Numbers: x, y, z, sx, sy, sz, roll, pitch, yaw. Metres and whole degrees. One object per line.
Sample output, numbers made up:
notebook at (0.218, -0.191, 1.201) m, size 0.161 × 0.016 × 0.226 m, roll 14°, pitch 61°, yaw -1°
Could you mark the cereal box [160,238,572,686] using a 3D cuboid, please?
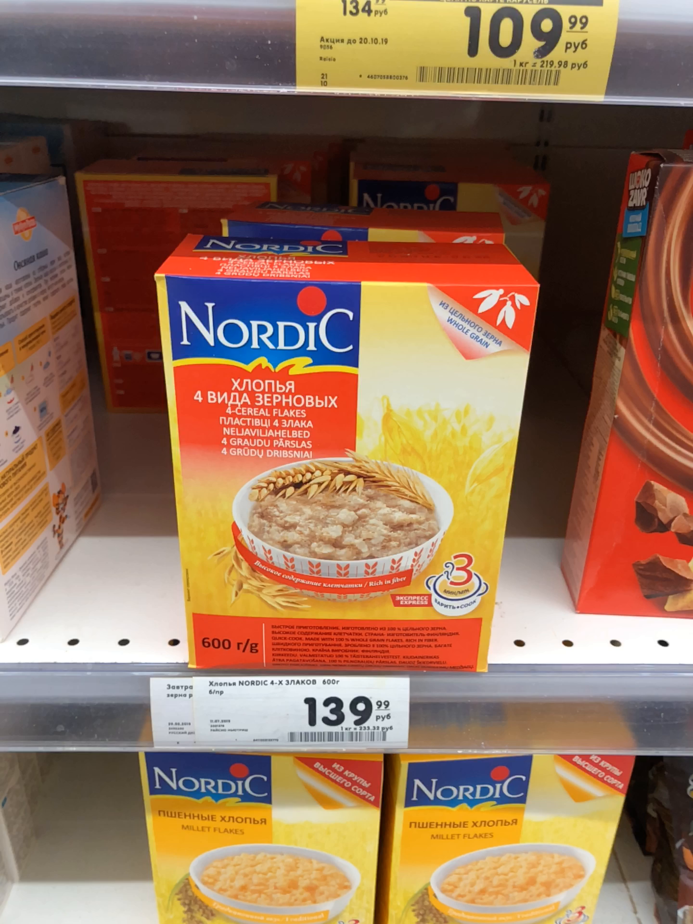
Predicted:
cereal box at (0.006, 0.002, 0.358) m, size 0.150 × 0.189 × 0.080 m, roll 1°, pitch 26°, yaw -1°
